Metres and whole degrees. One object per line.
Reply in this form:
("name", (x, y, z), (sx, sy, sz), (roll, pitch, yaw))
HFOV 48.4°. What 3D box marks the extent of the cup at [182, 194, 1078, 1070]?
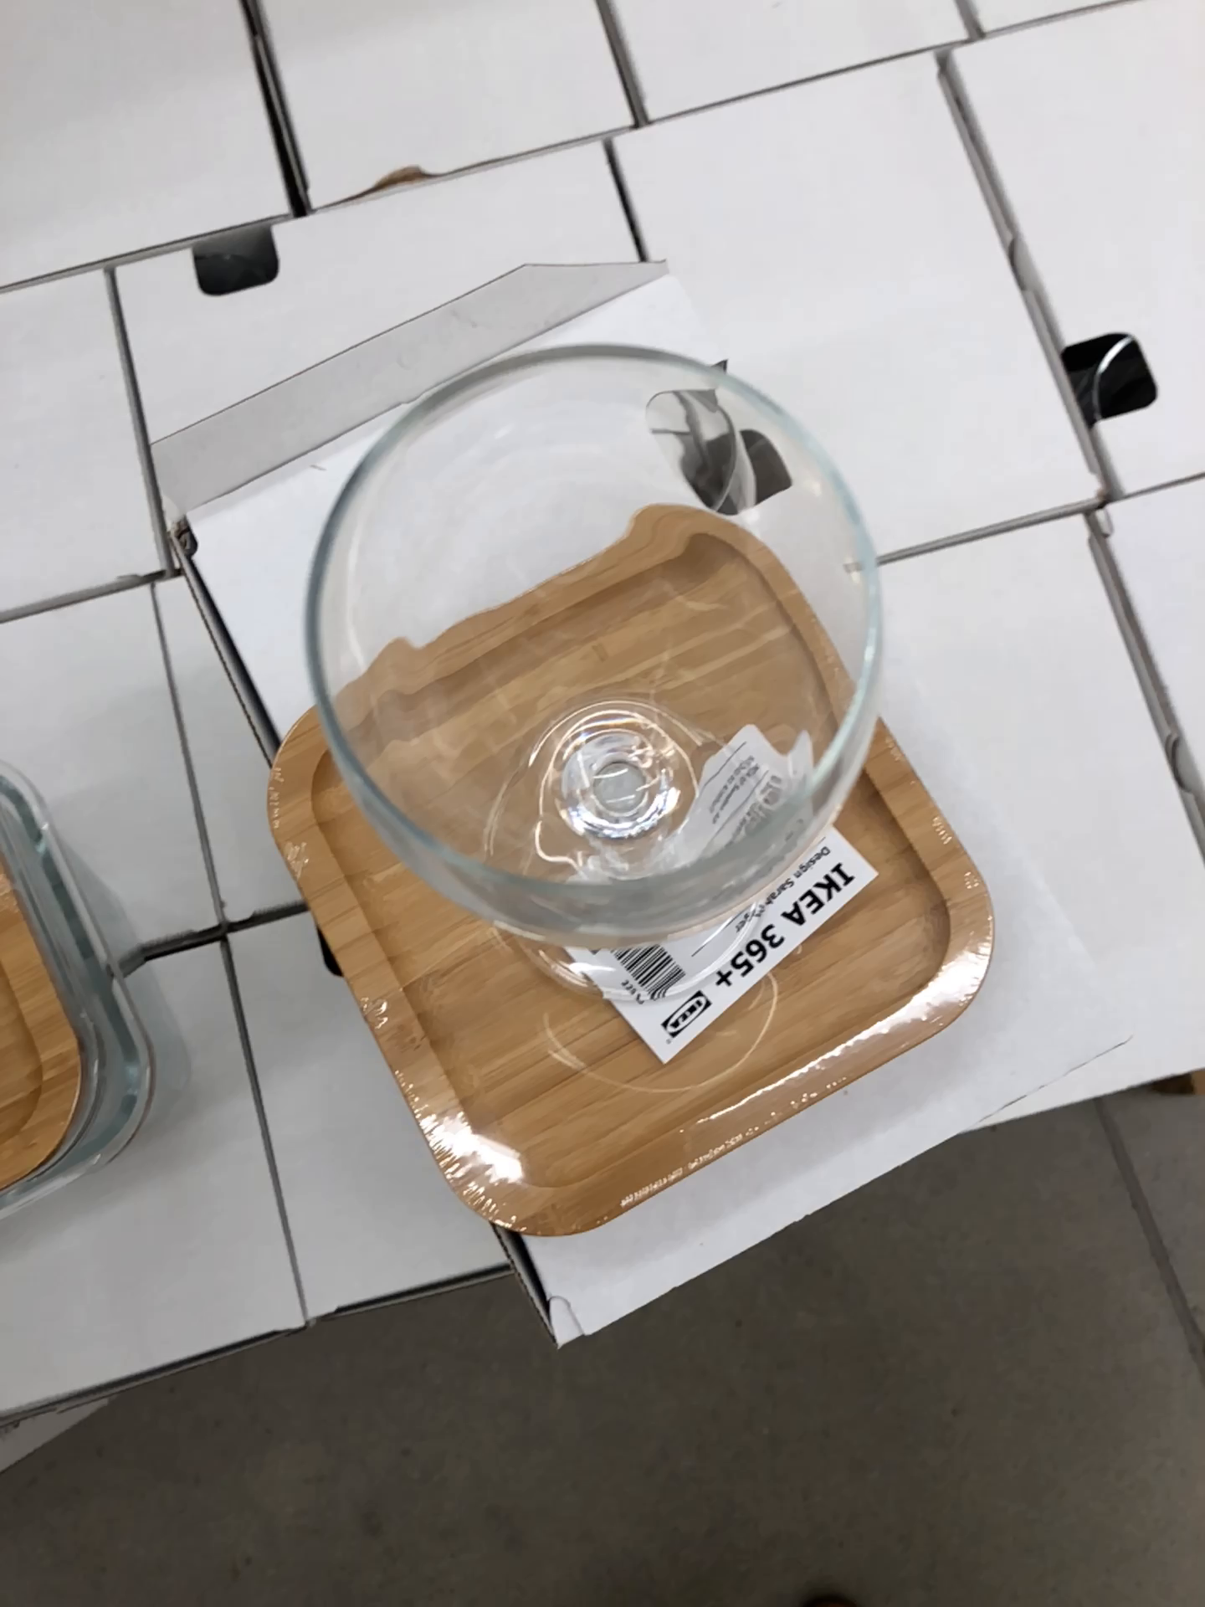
("cup", (0.004, -0.005, 0.241), (0.080, 0.180, 0.080), (0, 78, 2))
